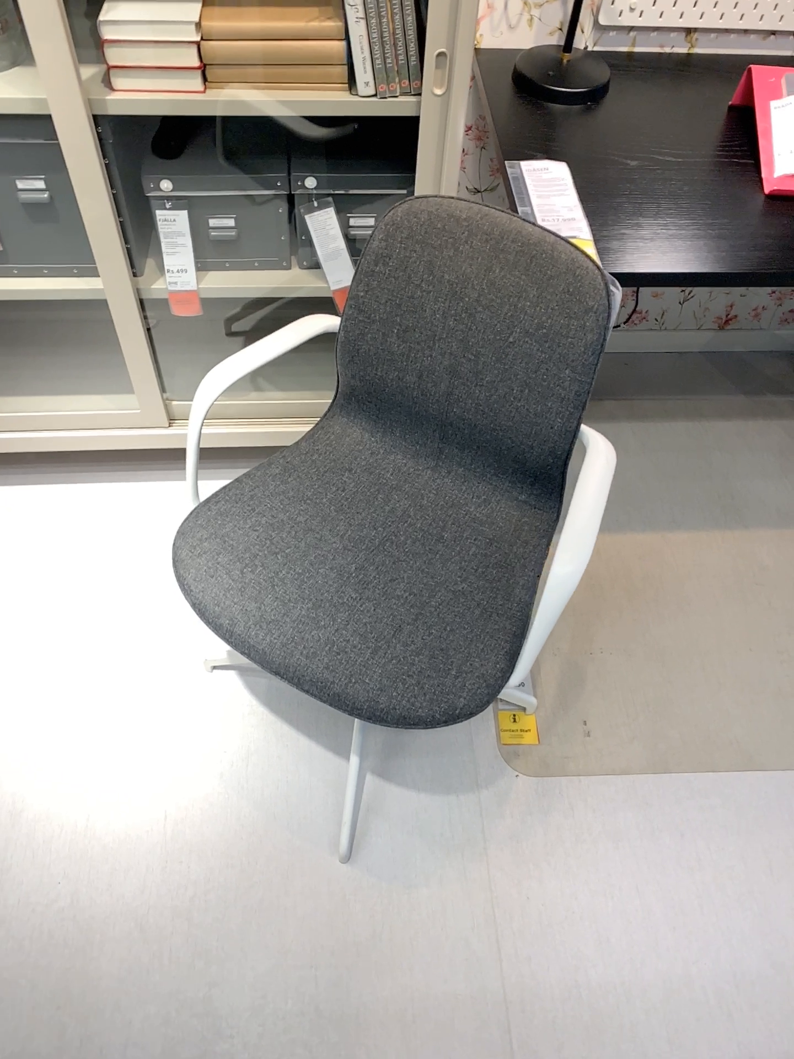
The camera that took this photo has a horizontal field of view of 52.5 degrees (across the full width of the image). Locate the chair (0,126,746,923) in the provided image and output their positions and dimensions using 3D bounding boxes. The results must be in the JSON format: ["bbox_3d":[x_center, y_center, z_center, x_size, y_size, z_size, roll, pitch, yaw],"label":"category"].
[{"bbox_3d":[-0.032,0.037,1.213,0.620,0.838,0.641,27,57,15],"label":"chair"}]
